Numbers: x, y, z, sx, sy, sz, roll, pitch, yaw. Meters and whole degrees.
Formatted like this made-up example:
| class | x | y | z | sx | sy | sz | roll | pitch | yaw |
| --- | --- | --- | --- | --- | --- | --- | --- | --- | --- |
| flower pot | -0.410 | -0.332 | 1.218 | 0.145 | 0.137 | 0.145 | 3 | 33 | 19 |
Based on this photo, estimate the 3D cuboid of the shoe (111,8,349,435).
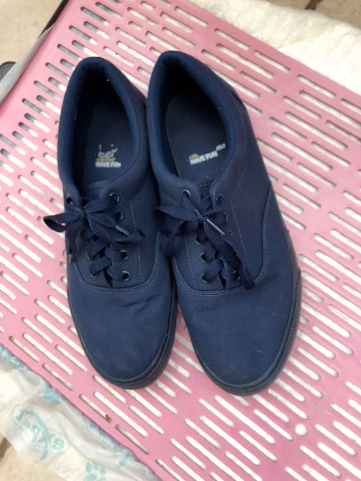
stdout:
| class | x | y | z | sx | sy | sz | roll | pitch | yaw |
| --- | --- | --- | --- | --- | --- | --- | --- | --- | --- |
| shoe | 0.034 | -0.012 | 0.317 | 0.107 | 0.100 | 0.270 | -12 | 83 | 10 |

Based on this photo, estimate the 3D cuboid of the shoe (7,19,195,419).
| class | x | y | z | sx | sy | sz | roll | pitch | yaw |
| --- | --- | --- | --- | --- | --- | --- | --- | --- | --- |
| shoe | -0.059 | -0.013 | 0.327 | 0.107 | 0.100 | 0.270 | -5 | 84 | 10 |
